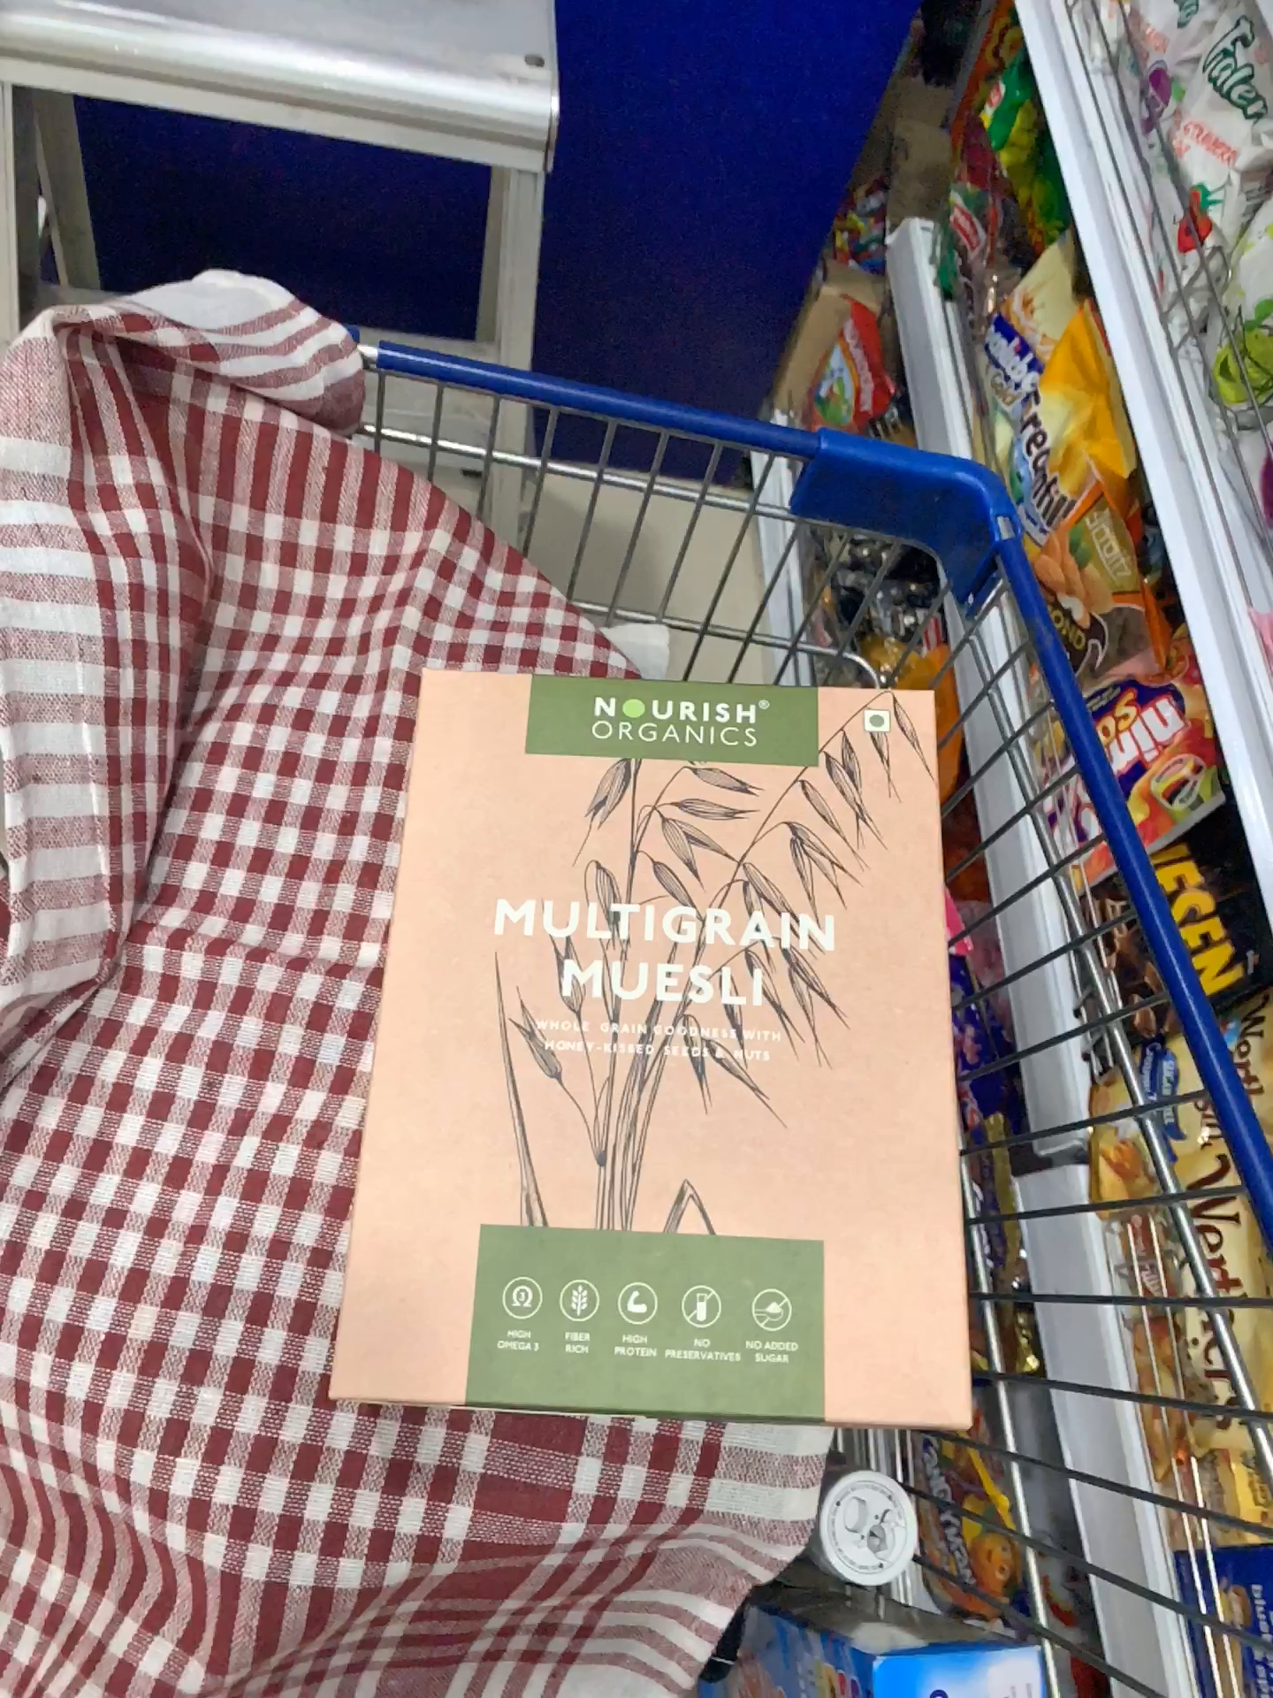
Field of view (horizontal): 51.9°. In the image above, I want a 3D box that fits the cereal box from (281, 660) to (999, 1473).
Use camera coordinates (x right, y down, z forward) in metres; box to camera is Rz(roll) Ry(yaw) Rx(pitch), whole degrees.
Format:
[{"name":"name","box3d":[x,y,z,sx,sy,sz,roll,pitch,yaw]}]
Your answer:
[{"name":"cereal box","box3d":[0.005,0.053,0.353,0.160,0.050,0.200,3,67,-1]}]
